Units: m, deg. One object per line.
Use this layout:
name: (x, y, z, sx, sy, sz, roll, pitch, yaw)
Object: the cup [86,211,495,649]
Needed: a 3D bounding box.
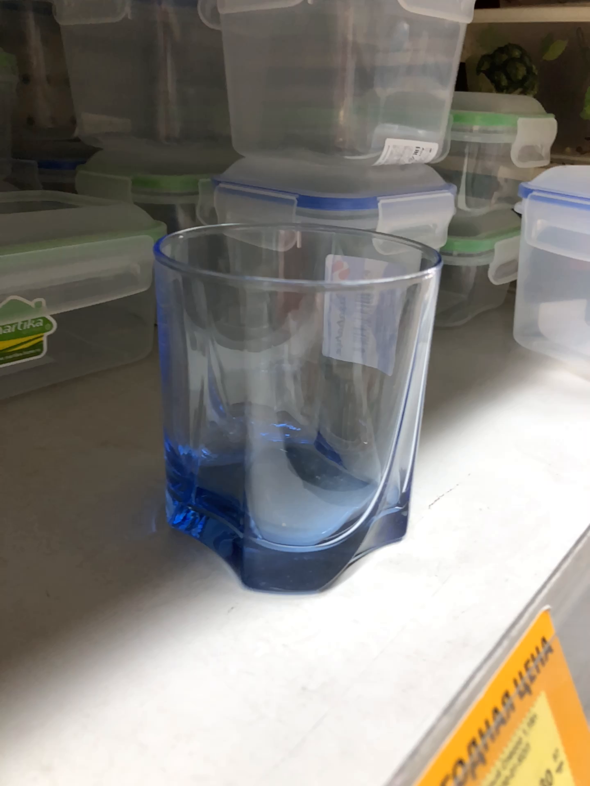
cup: (-0.002, 0.000, 0.208, 0.085, 0.095, 0.083, 1, 23, 0)
